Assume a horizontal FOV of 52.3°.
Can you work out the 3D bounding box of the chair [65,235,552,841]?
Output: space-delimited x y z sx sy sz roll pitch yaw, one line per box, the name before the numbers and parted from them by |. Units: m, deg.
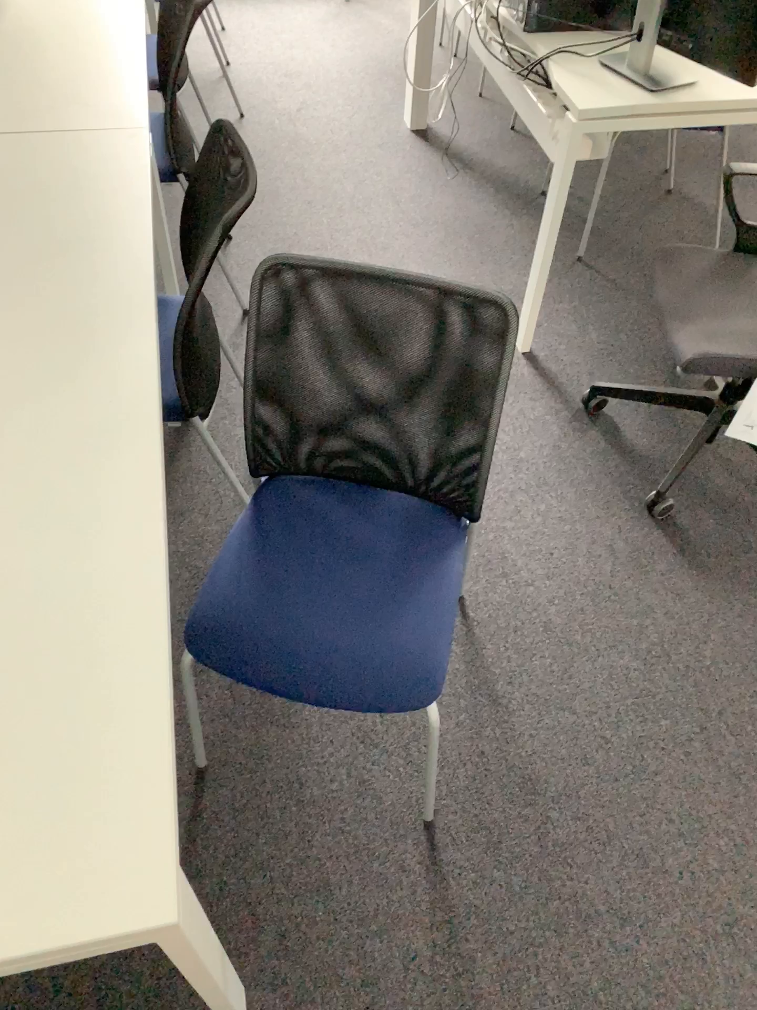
chair | -0.069 0.109 1.421 0.540 0.896 0.603 11 50 5
